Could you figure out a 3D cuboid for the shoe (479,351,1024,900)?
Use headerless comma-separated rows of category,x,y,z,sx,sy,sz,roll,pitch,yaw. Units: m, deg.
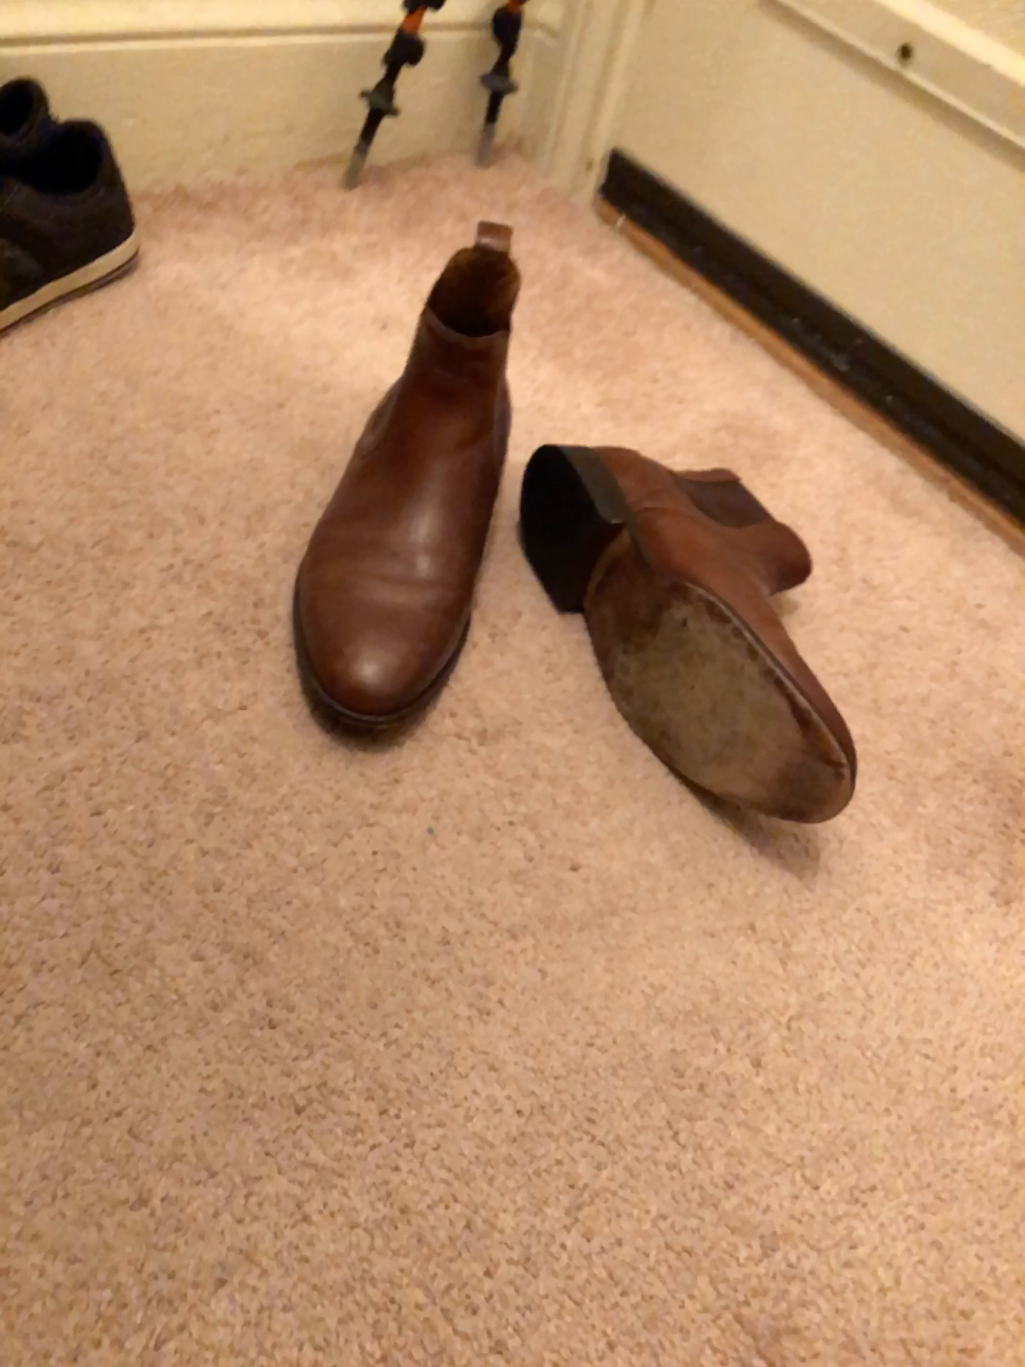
shoe,0.135,-0.051,0.676,0.170,0.118,0.297,-16,56,-29

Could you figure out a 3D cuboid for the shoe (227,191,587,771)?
shoe,-0.053,-0.126,0.644,0.109,0.158,0.298,17,47,-1
